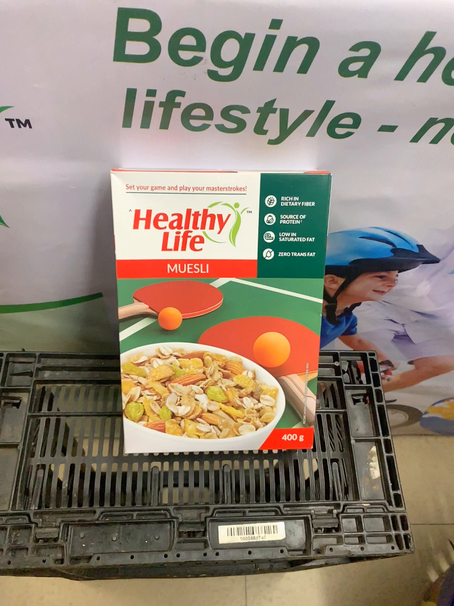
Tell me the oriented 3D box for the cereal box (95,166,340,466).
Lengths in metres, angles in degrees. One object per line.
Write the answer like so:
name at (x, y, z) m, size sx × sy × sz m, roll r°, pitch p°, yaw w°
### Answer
cereal box at (-0.007, 0.008, 0.390) m, size 0.170 × 0.230 × 0.080 m, roll -1°, pitch 14°, yaw -3°
